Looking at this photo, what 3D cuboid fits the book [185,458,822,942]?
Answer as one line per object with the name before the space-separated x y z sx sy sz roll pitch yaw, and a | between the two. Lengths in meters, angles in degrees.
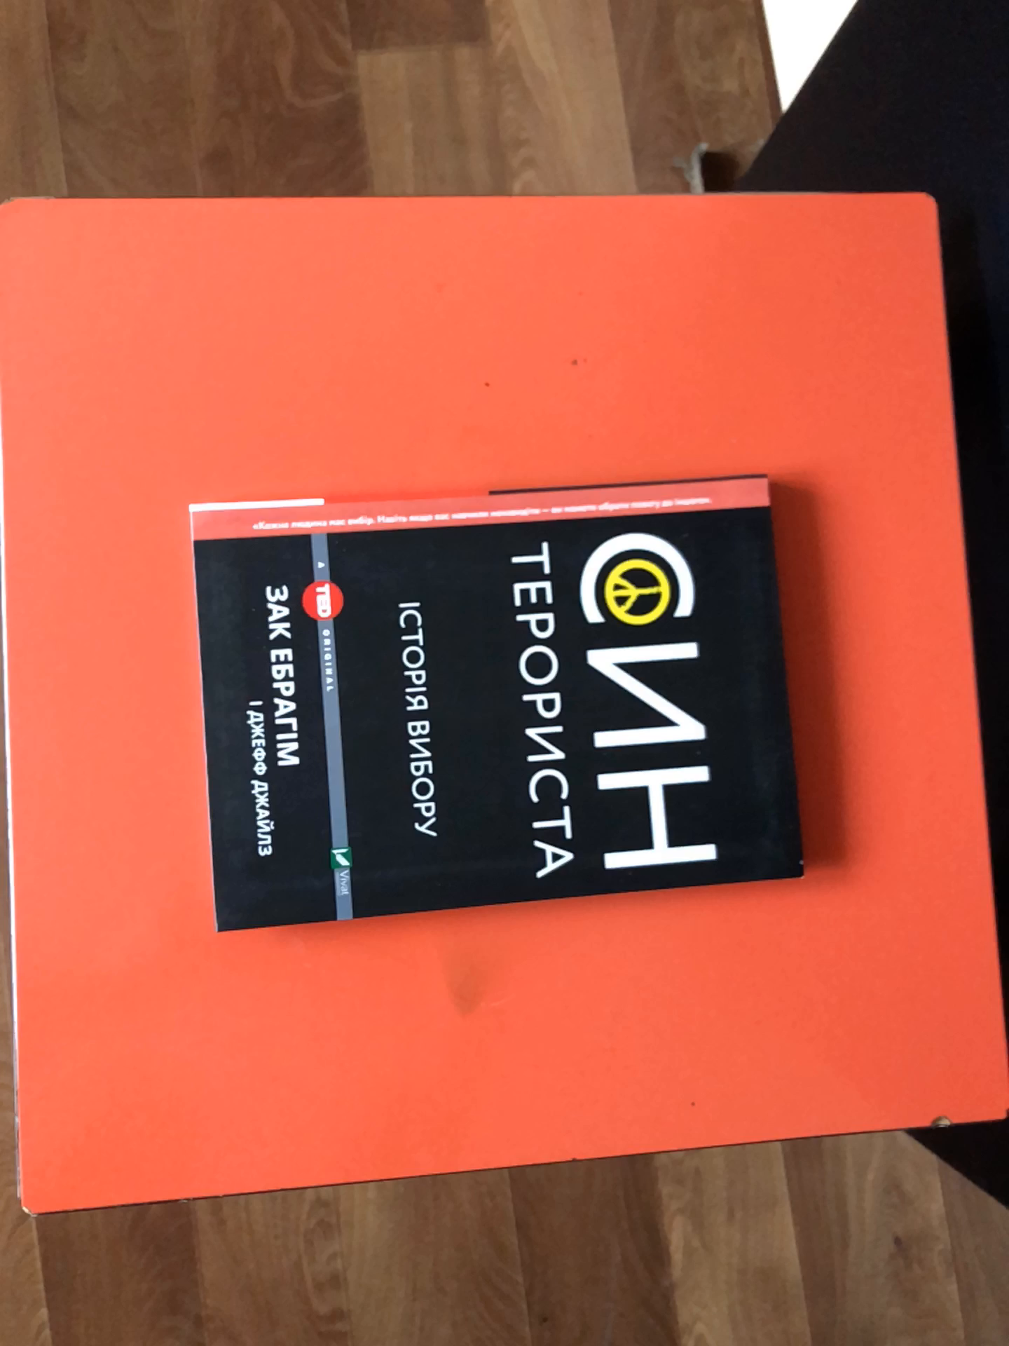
book | 0.001 0.006 0.382 0.205 0.013 0.150 -4 86 -6
